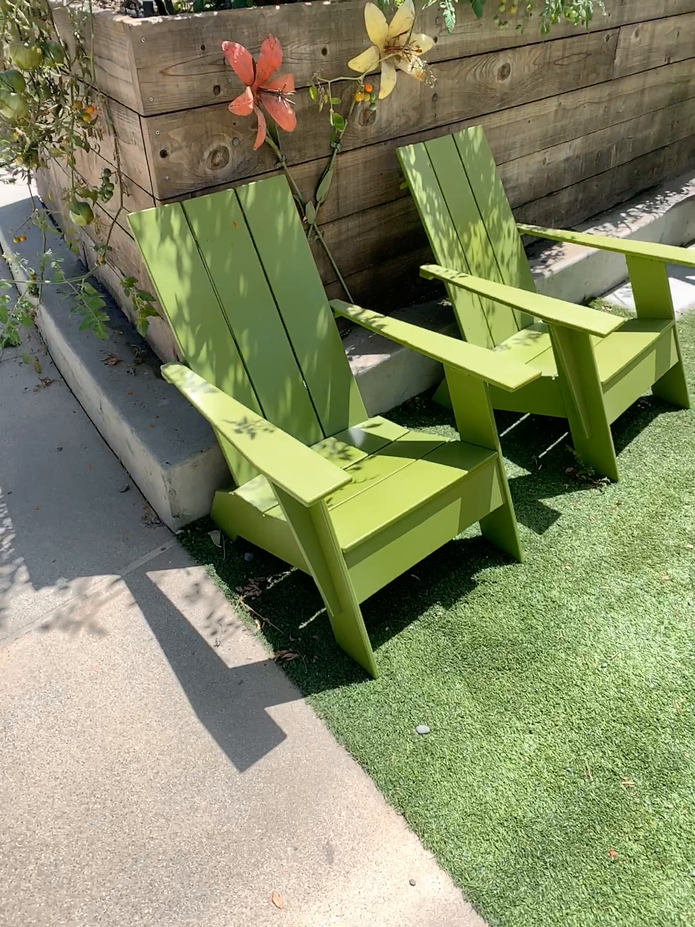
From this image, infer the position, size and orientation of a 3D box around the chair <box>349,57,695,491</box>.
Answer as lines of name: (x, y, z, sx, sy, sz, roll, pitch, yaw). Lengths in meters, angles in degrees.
chair: (0.649, -0.607, 2.283, 0.681, 0.985, 0.894, -31, 31, -29)

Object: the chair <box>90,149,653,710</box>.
chair: (0.034, -0.177, 1.629, 0.681, 0.835, 0.904, -29, 39, -32)
